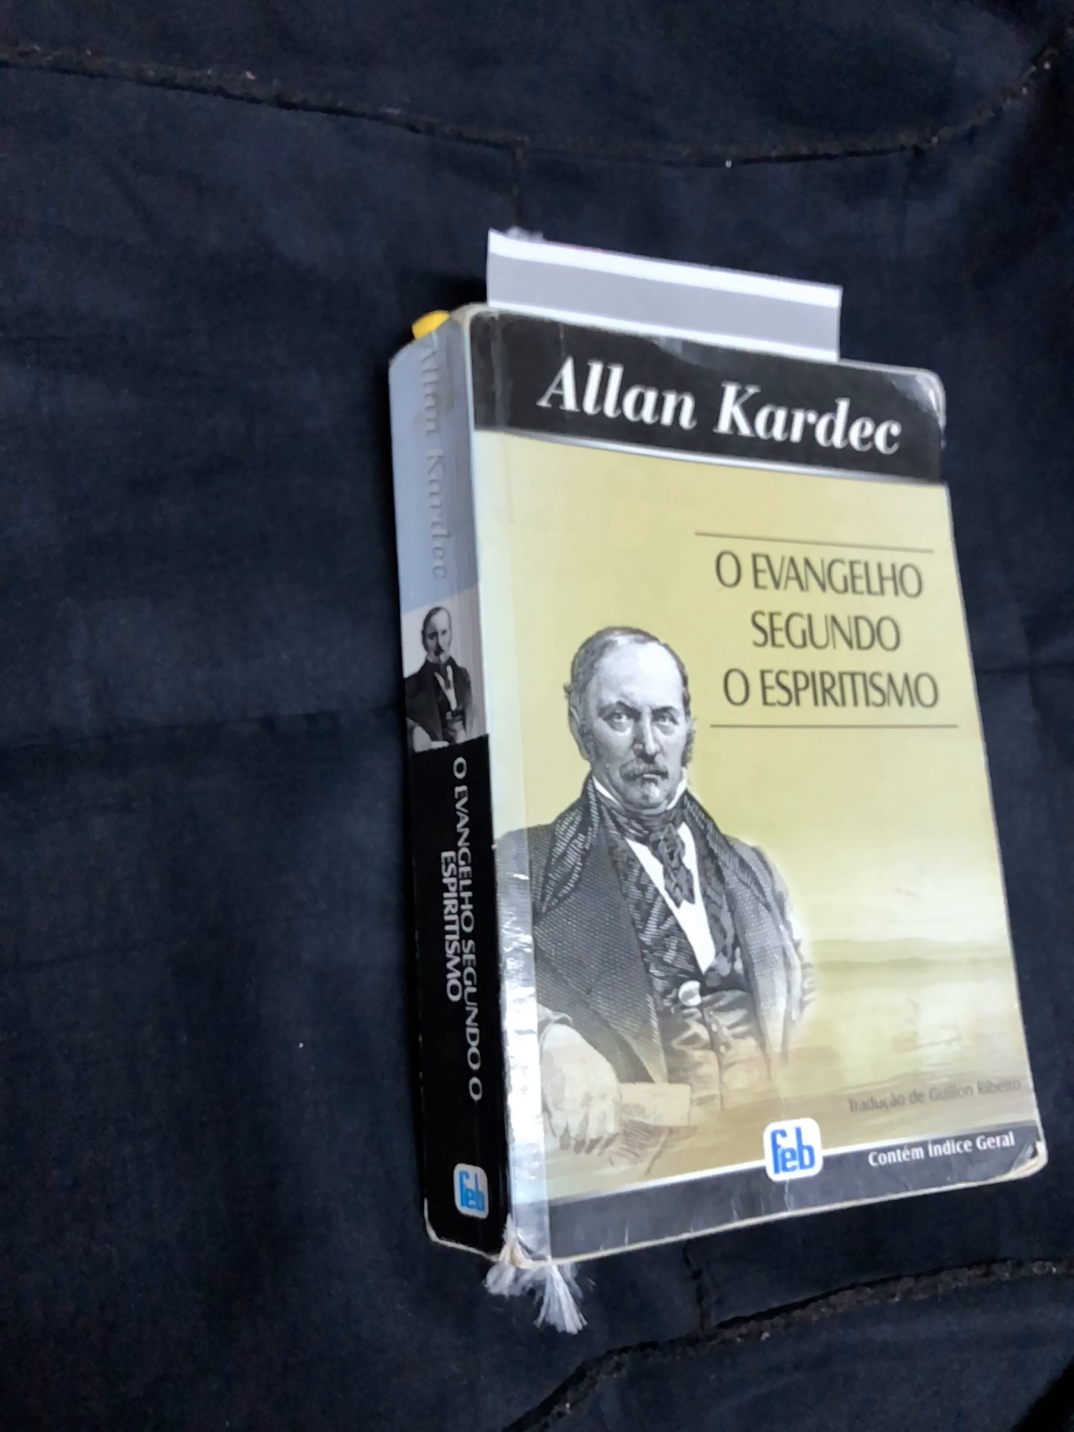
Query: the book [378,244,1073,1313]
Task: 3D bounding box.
[{"bbox_3d":[0.046,0.008,0.295,0.150,0.050,0.220,-1,79,-21],"label":"book"}]
